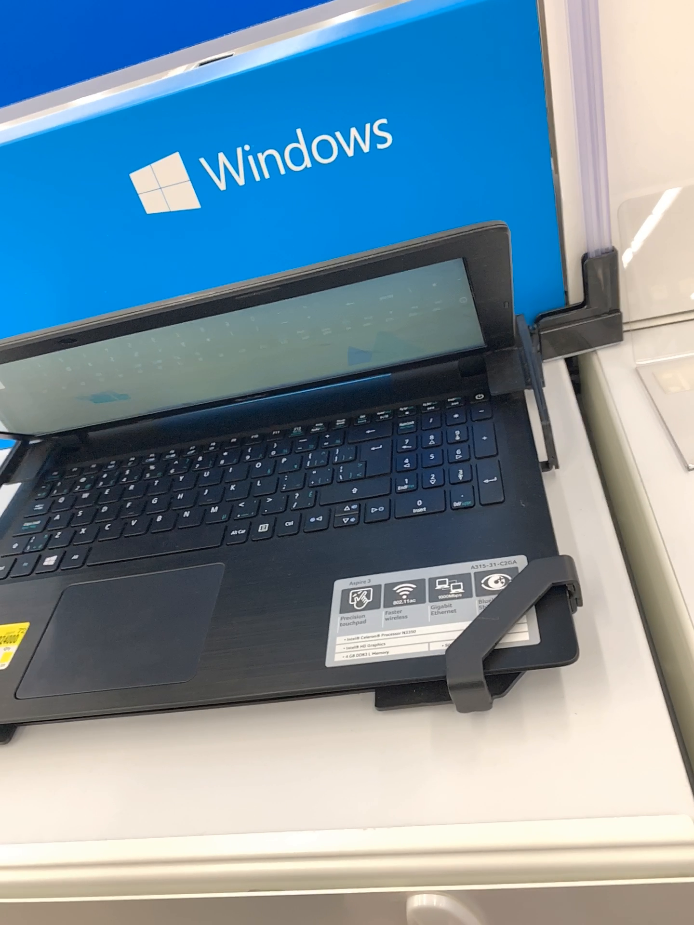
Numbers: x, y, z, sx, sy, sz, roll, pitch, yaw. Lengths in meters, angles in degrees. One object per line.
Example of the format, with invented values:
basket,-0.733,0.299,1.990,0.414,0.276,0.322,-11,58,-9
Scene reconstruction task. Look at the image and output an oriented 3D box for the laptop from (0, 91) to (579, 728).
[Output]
laptop,-0.086,-0.028,0.361,0.344,0.157,0.234,-9,38,14
